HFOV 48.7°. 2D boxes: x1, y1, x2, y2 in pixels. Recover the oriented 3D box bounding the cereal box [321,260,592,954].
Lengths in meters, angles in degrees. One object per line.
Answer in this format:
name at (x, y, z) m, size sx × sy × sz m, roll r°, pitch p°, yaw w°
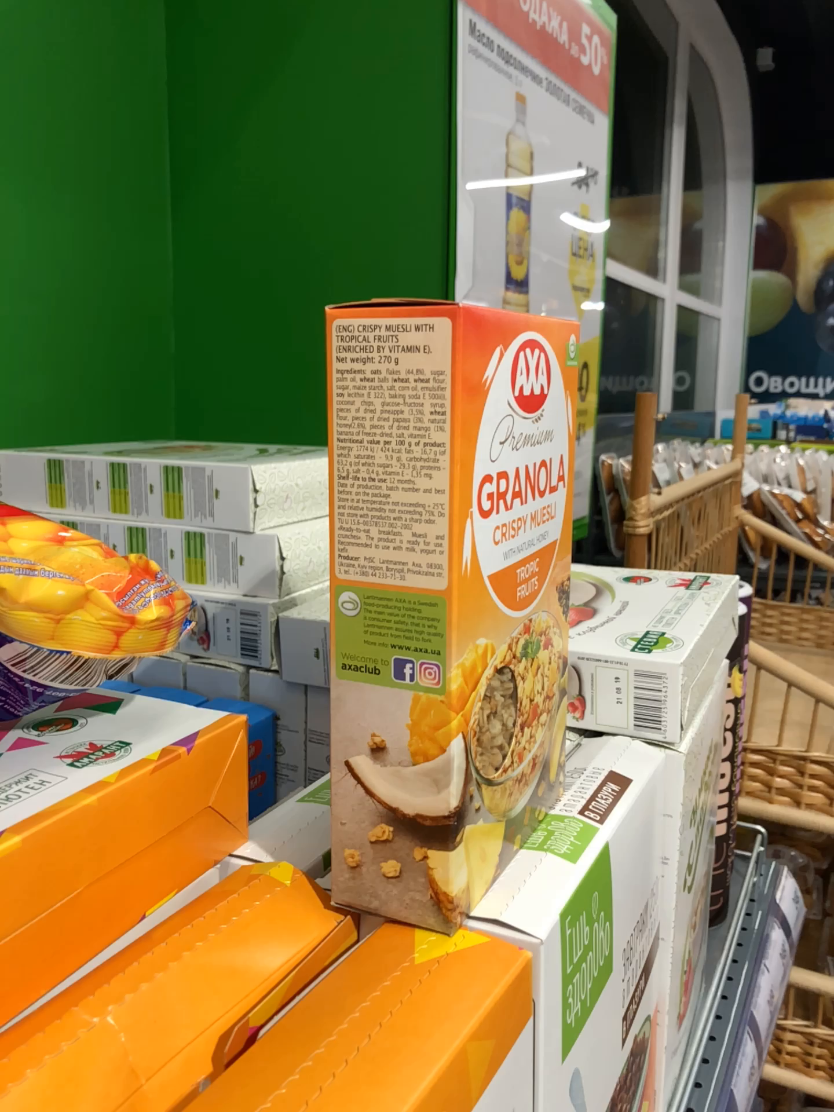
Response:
cereal box at (0.022, 0.009, 0.357) m, size 0.050 × 0.219 × 0.140 m, roll 5°, pitch 11°, yaw 24°
